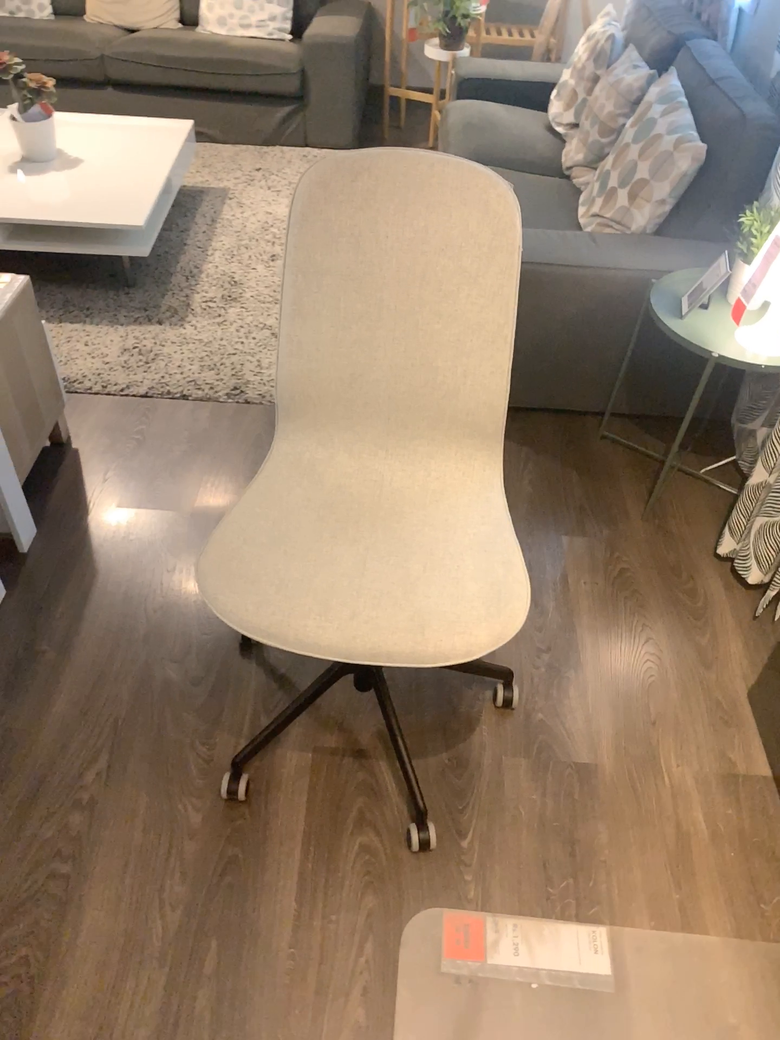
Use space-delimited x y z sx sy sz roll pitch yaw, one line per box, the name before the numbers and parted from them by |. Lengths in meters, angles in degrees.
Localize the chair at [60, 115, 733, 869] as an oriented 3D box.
chair | -0.007 -0.001 1.349 0.630 1.006 0.713 5 45 0
